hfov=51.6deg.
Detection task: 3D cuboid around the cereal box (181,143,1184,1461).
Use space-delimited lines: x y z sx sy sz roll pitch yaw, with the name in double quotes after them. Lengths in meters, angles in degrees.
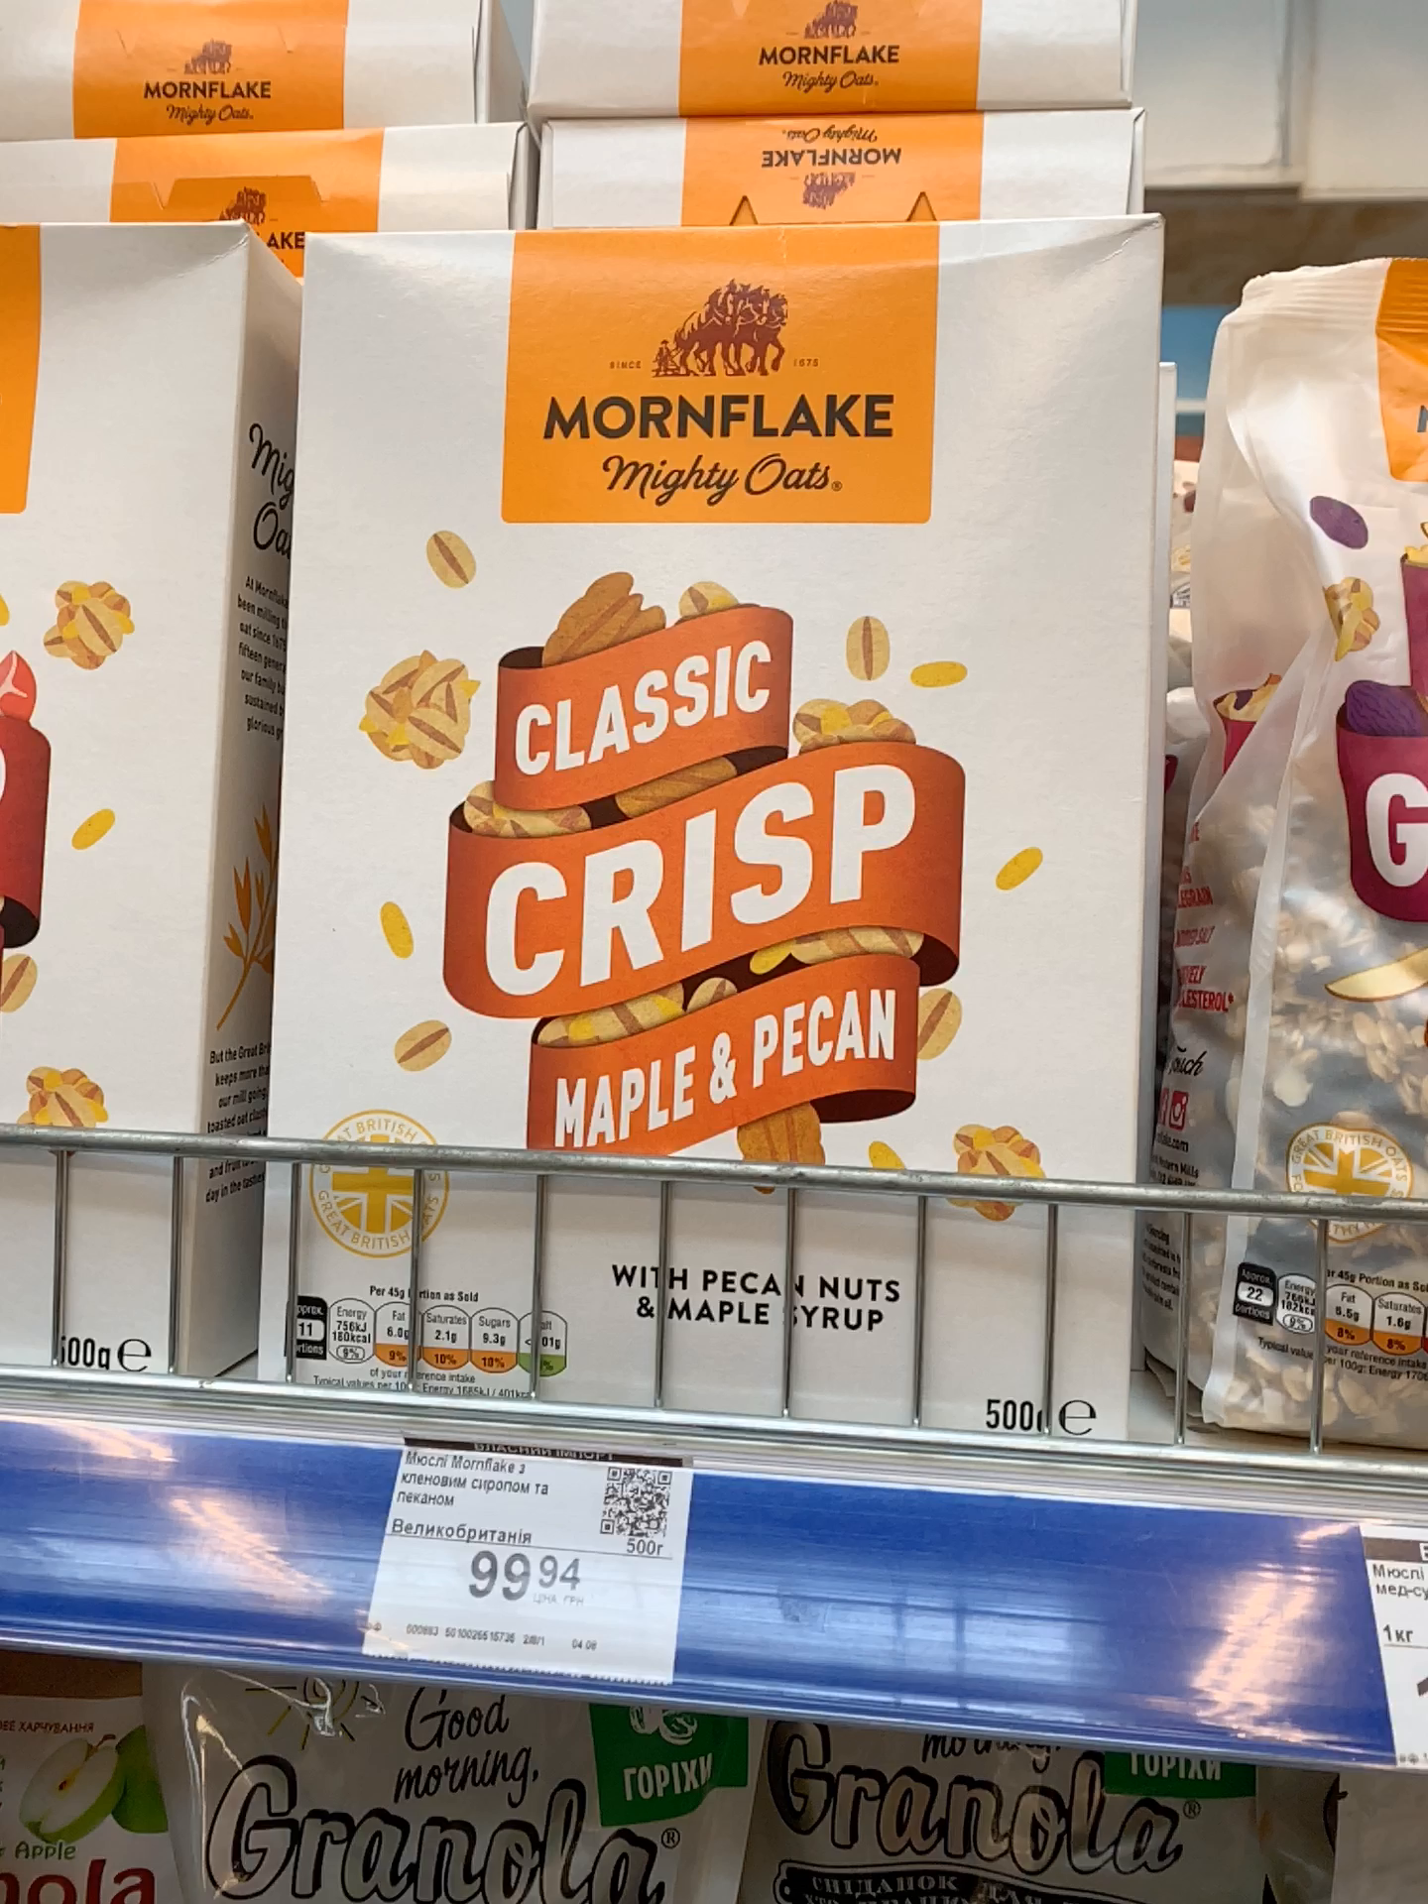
-0.006 -0.033 0.320 0.190 0.250 0.060 2 -1 6 "cereal box"
